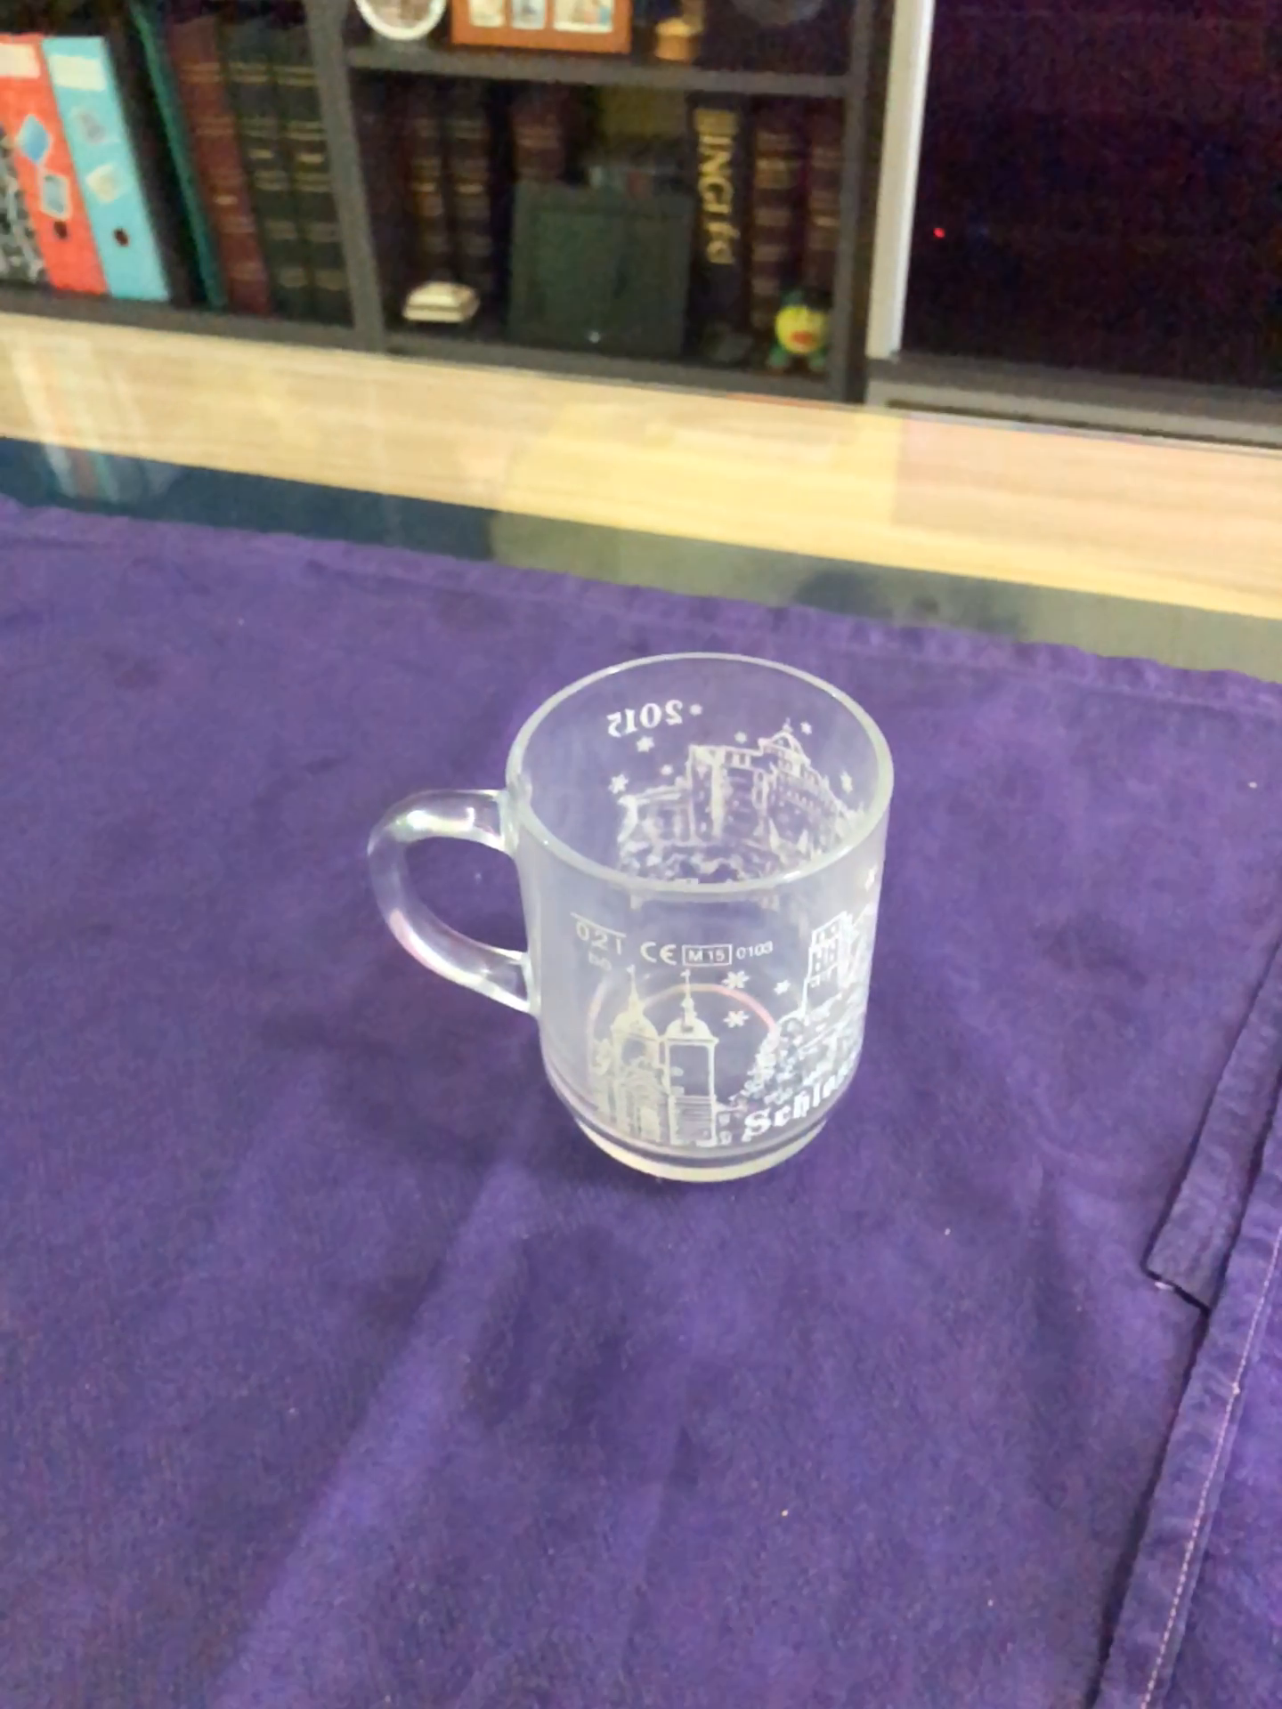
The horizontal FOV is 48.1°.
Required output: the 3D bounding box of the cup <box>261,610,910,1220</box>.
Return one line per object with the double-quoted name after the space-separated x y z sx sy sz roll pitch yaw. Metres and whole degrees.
-0.005 0.010 0.276 0.100 0.080 0.070 6 41 10 "cup"
